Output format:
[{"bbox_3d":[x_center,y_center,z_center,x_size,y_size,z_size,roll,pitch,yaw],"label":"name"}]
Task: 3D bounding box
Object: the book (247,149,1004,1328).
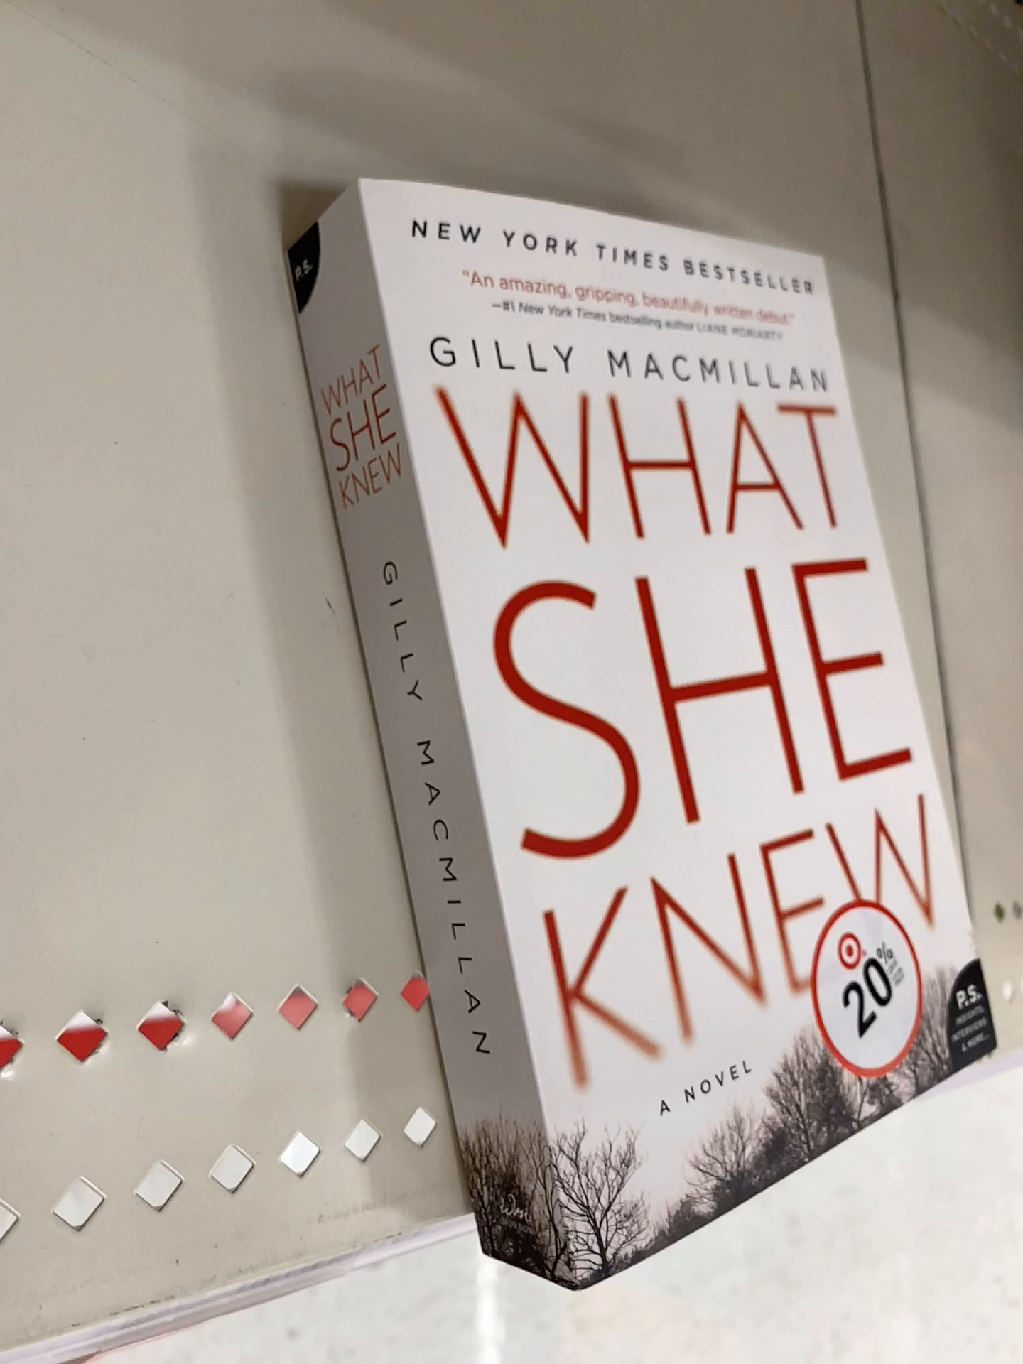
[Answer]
[{"bbox_3d":[0.030,0.001,0.232,0.131,0.041,0.197,-9,85,-37],"label":"book"}]
